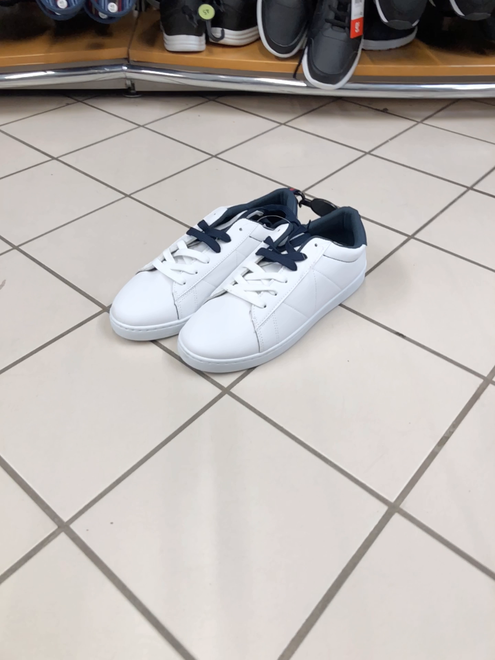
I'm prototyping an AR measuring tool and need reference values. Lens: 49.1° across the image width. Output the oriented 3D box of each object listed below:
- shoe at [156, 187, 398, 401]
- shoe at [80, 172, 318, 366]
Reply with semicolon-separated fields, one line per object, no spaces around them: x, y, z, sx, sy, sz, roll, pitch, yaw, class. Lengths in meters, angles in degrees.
0.044;-0.056;0.634;0.100;0.099;0.292;33;51;31;shoe
-0.046;-0.090;0.679;0.100;0.099;0.292;33;51;31;shoe
